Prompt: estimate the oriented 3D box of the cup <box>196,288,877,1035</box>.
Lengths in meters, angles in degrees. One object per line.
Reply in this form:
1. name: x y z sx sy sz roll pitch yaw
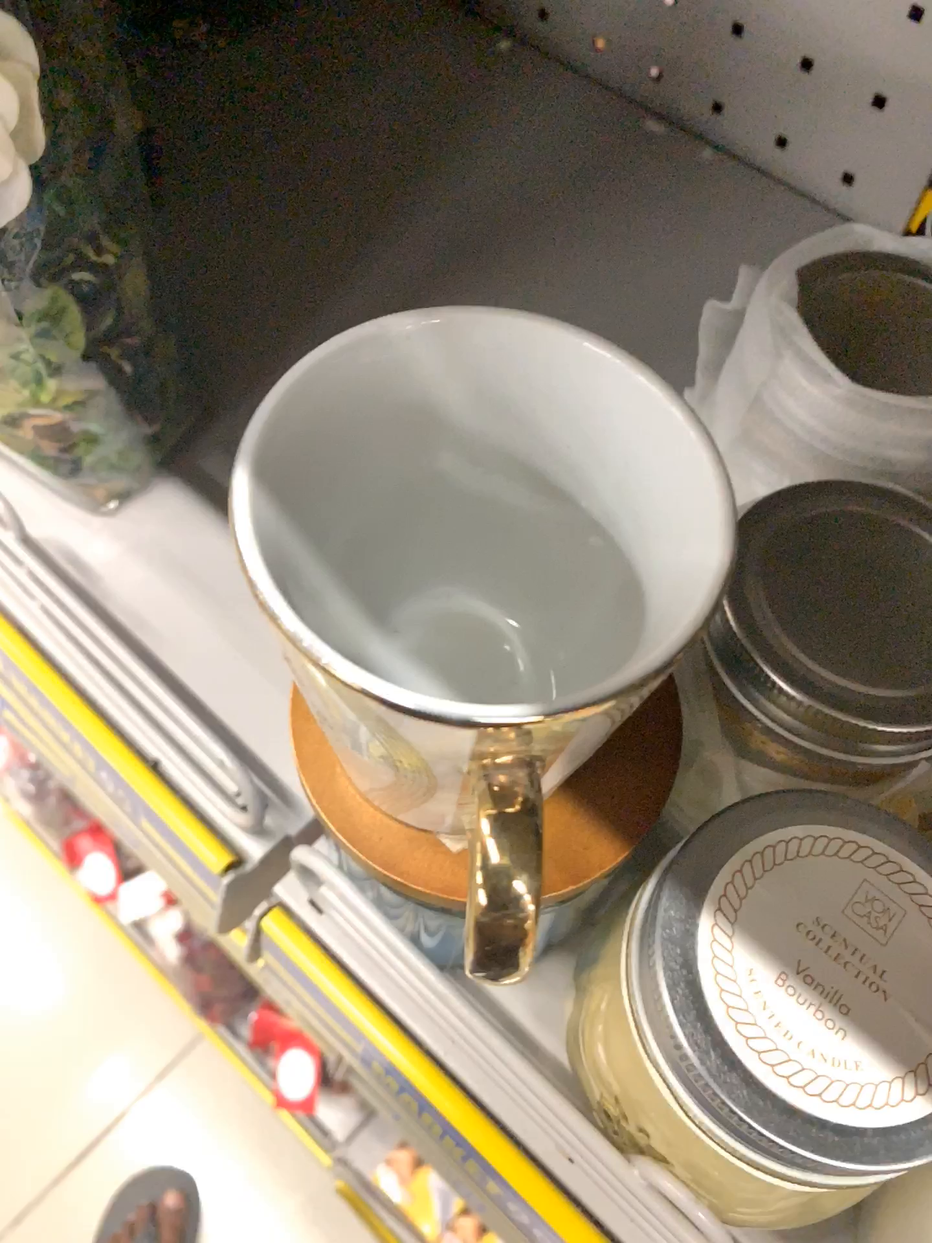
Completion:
1. cup: 0.004 0.010 0.157 0.070 0.080 0.090 -2 59 -4
